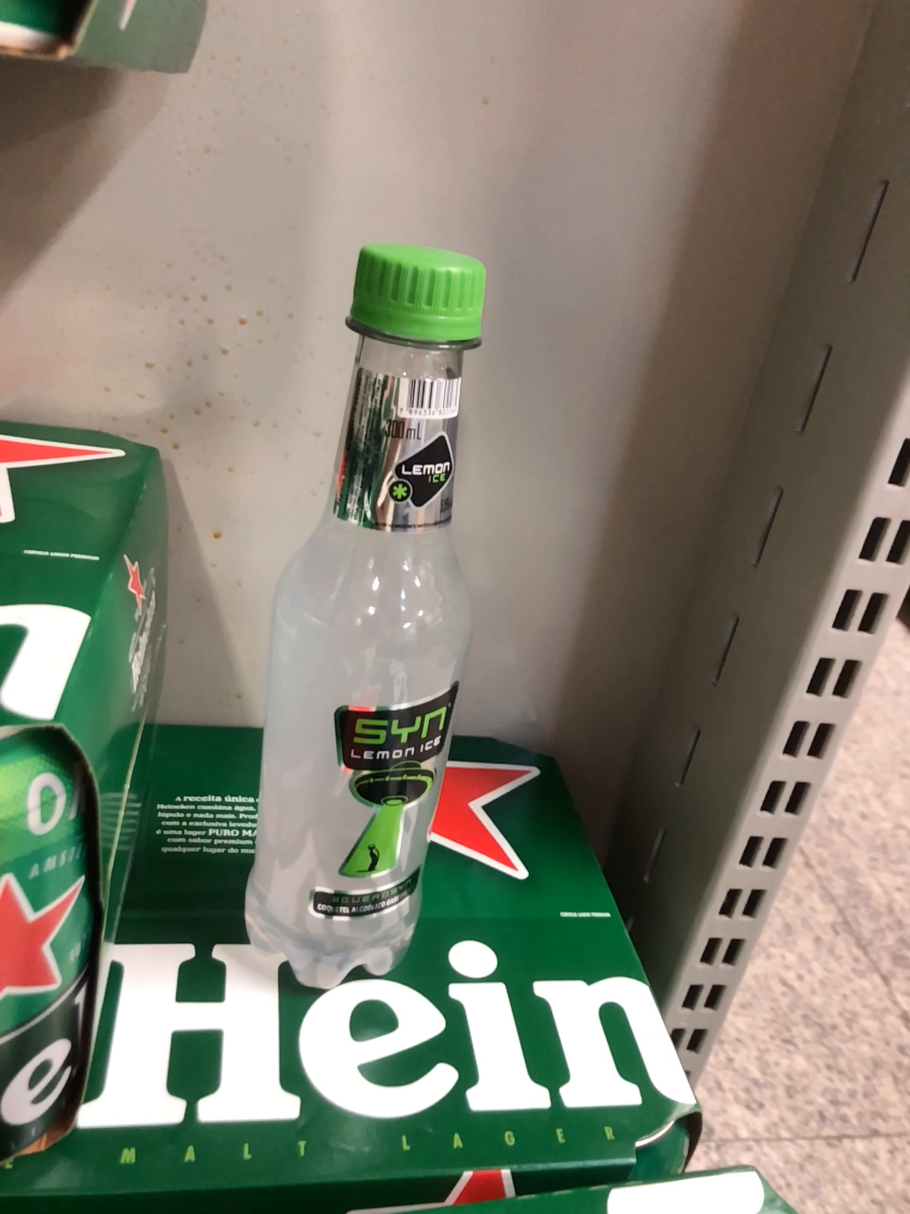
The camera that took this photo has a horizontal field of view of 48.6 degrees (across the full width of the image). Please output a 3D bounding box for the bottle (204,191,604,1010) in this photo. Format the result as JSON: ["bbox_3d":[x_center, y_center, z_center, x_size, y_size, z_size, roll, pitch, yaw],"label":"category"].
[{"bbox_3d":[-0.024,0.005,0.277,0.060,0.209,0.060,9,25,-4],"label":"bottle"}]
